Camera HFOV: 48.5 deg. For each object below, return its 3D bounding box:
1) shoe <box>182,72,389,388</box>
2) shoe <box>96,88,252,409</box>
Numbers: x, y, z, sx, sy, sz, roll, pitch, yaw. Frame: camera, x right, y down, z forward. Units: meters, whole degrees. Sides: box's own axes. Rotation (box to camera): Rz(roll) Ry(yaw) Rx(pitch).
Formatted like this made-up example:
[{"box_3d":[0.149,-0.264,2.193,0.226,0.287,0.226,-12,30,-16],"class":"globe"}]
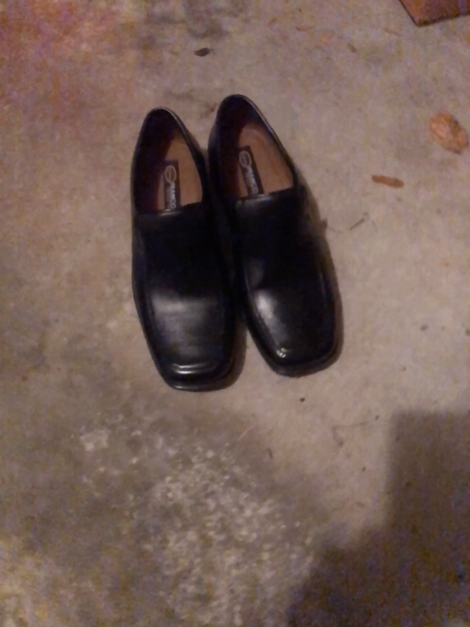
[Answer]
[{"box_3d":[0.038,-0.081,0.513,0.104,0.113,0.269,-16,71,-3],"class":"shoe"},{"box_3d":[-0.059,-0.063,0.512,0.101,0.113,0.279,-10,70,-1],"class":"shoe"}]
